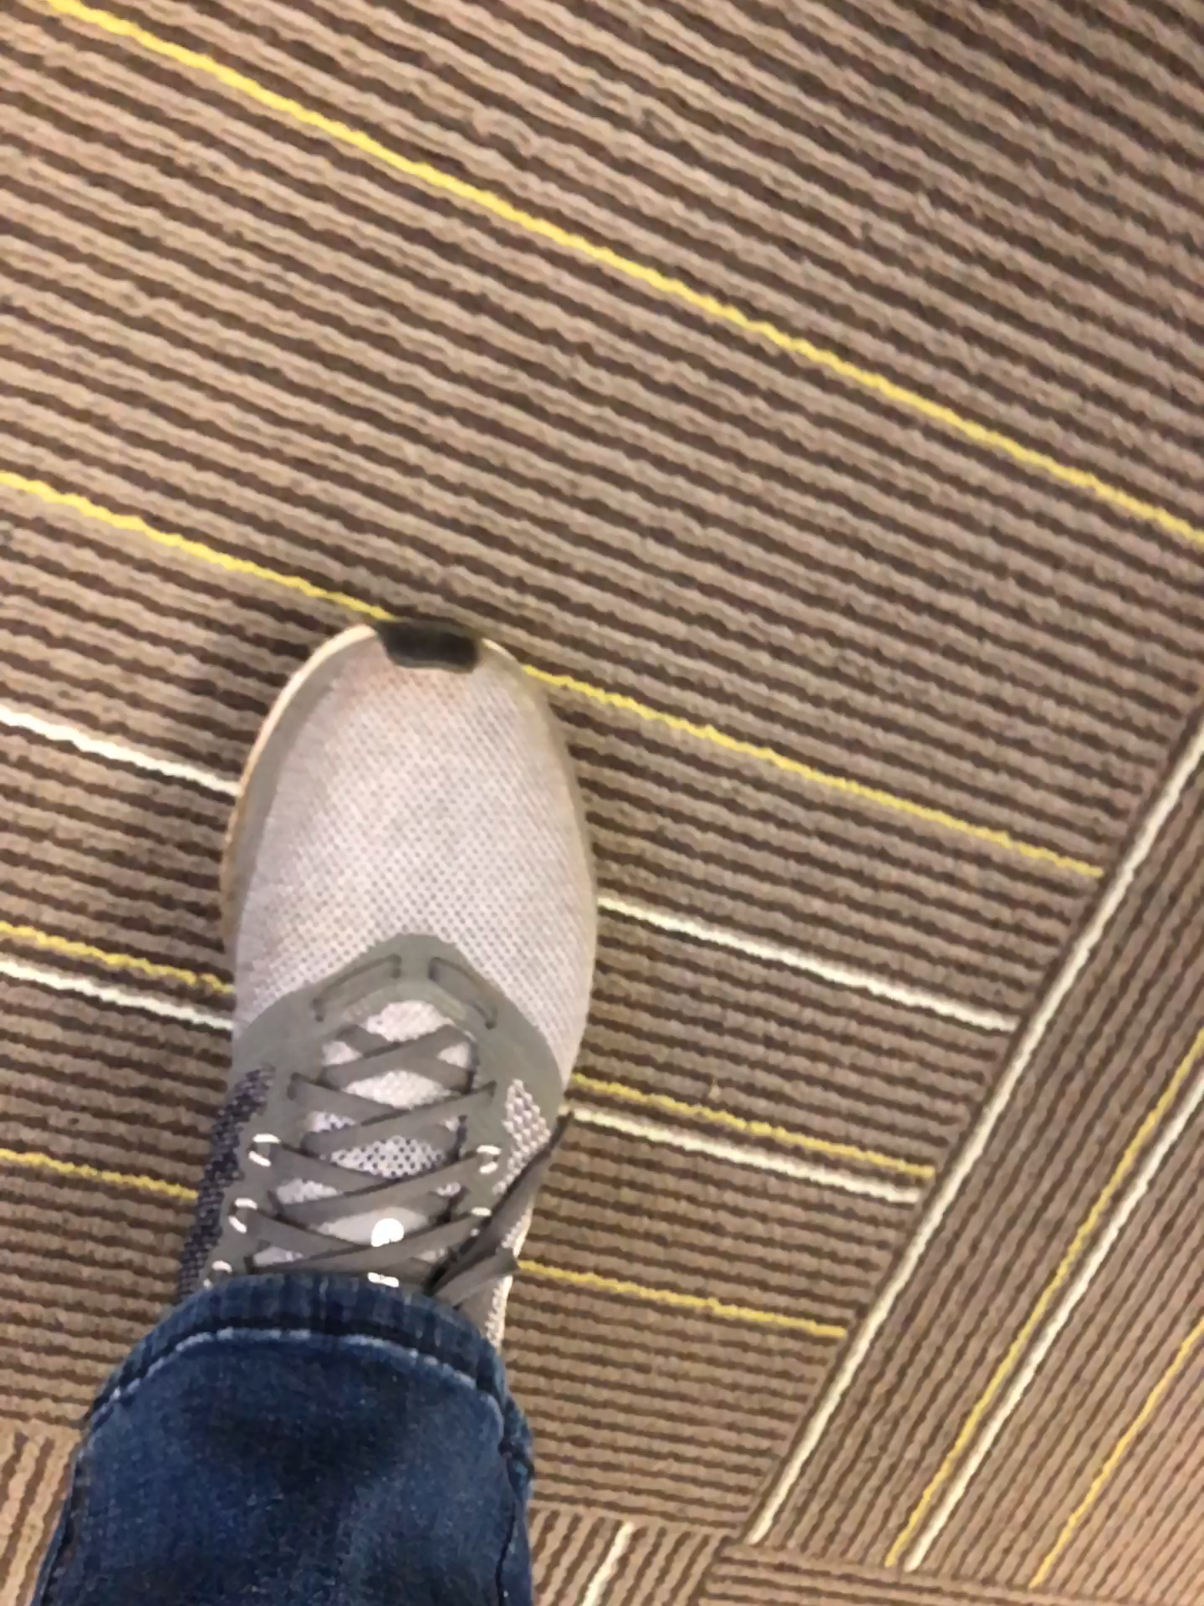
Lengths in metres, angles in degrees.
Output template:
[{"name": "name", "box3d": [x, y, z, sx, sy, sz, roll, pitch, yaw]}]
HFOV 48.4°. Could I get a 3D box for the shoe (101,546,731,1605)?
[{"name": "shoe", "box3d": [-0.059, 0.089, 0.385, 0.120, 0.060, 0.300, 8, 102, -14]}]
